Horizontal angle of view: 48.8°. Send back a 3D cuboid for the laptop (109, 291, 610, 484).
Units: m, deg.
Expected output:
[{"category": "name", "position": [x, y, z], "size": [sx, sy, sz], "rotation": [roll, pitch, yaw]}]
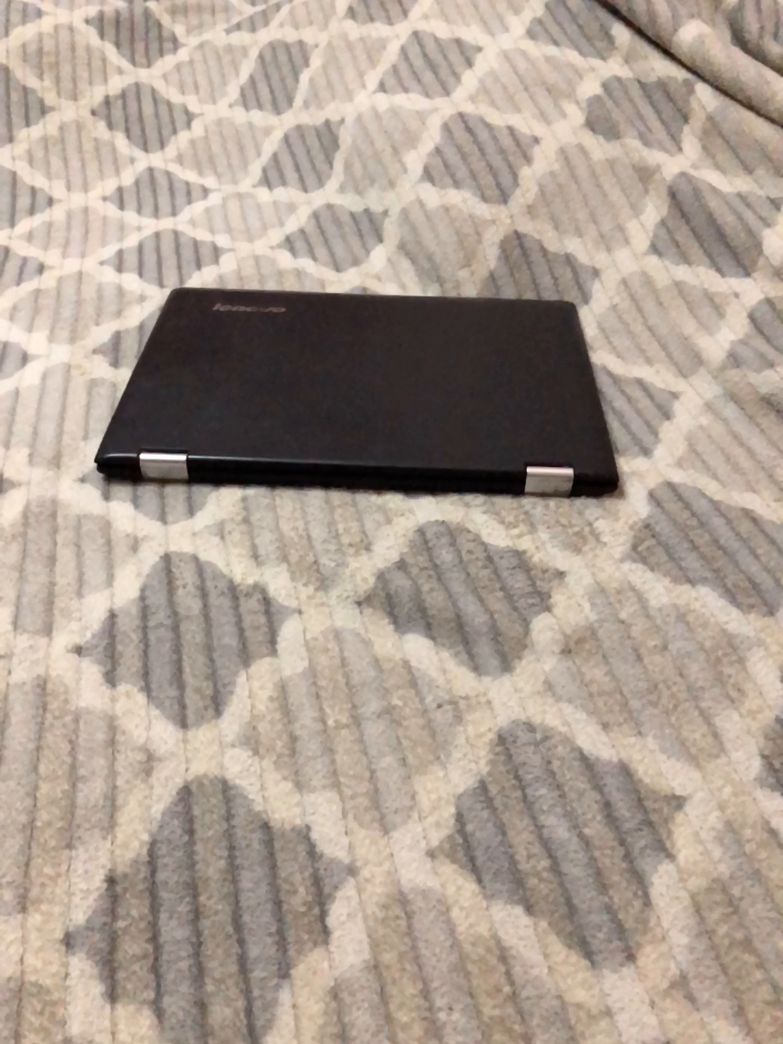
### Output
[{"category": "laptop", "position": [-0.017, -0.113, 0.669], "size": [0.339, 0.005, 0.232], "rotation": [2, 44, 0]}]
